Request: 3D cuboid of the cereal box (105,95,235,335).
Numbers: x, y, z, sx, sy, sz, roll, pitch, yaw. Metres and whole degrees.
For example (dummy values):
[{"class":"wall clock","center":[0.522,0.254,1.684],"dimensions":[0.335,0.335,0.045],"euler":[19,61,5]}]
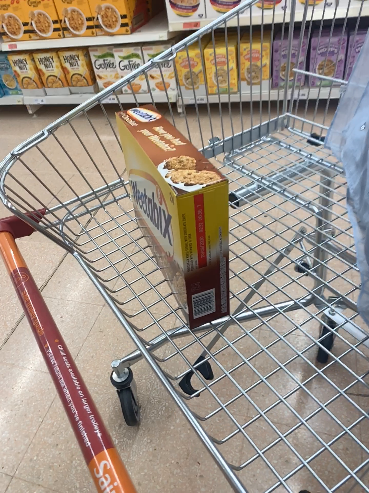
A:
[{"class":"cereal box","center":[-0.022,-0.052,0.477],"dimensions":[0.060,0.188,0.252],"euler":[-18,42,-13]}]
